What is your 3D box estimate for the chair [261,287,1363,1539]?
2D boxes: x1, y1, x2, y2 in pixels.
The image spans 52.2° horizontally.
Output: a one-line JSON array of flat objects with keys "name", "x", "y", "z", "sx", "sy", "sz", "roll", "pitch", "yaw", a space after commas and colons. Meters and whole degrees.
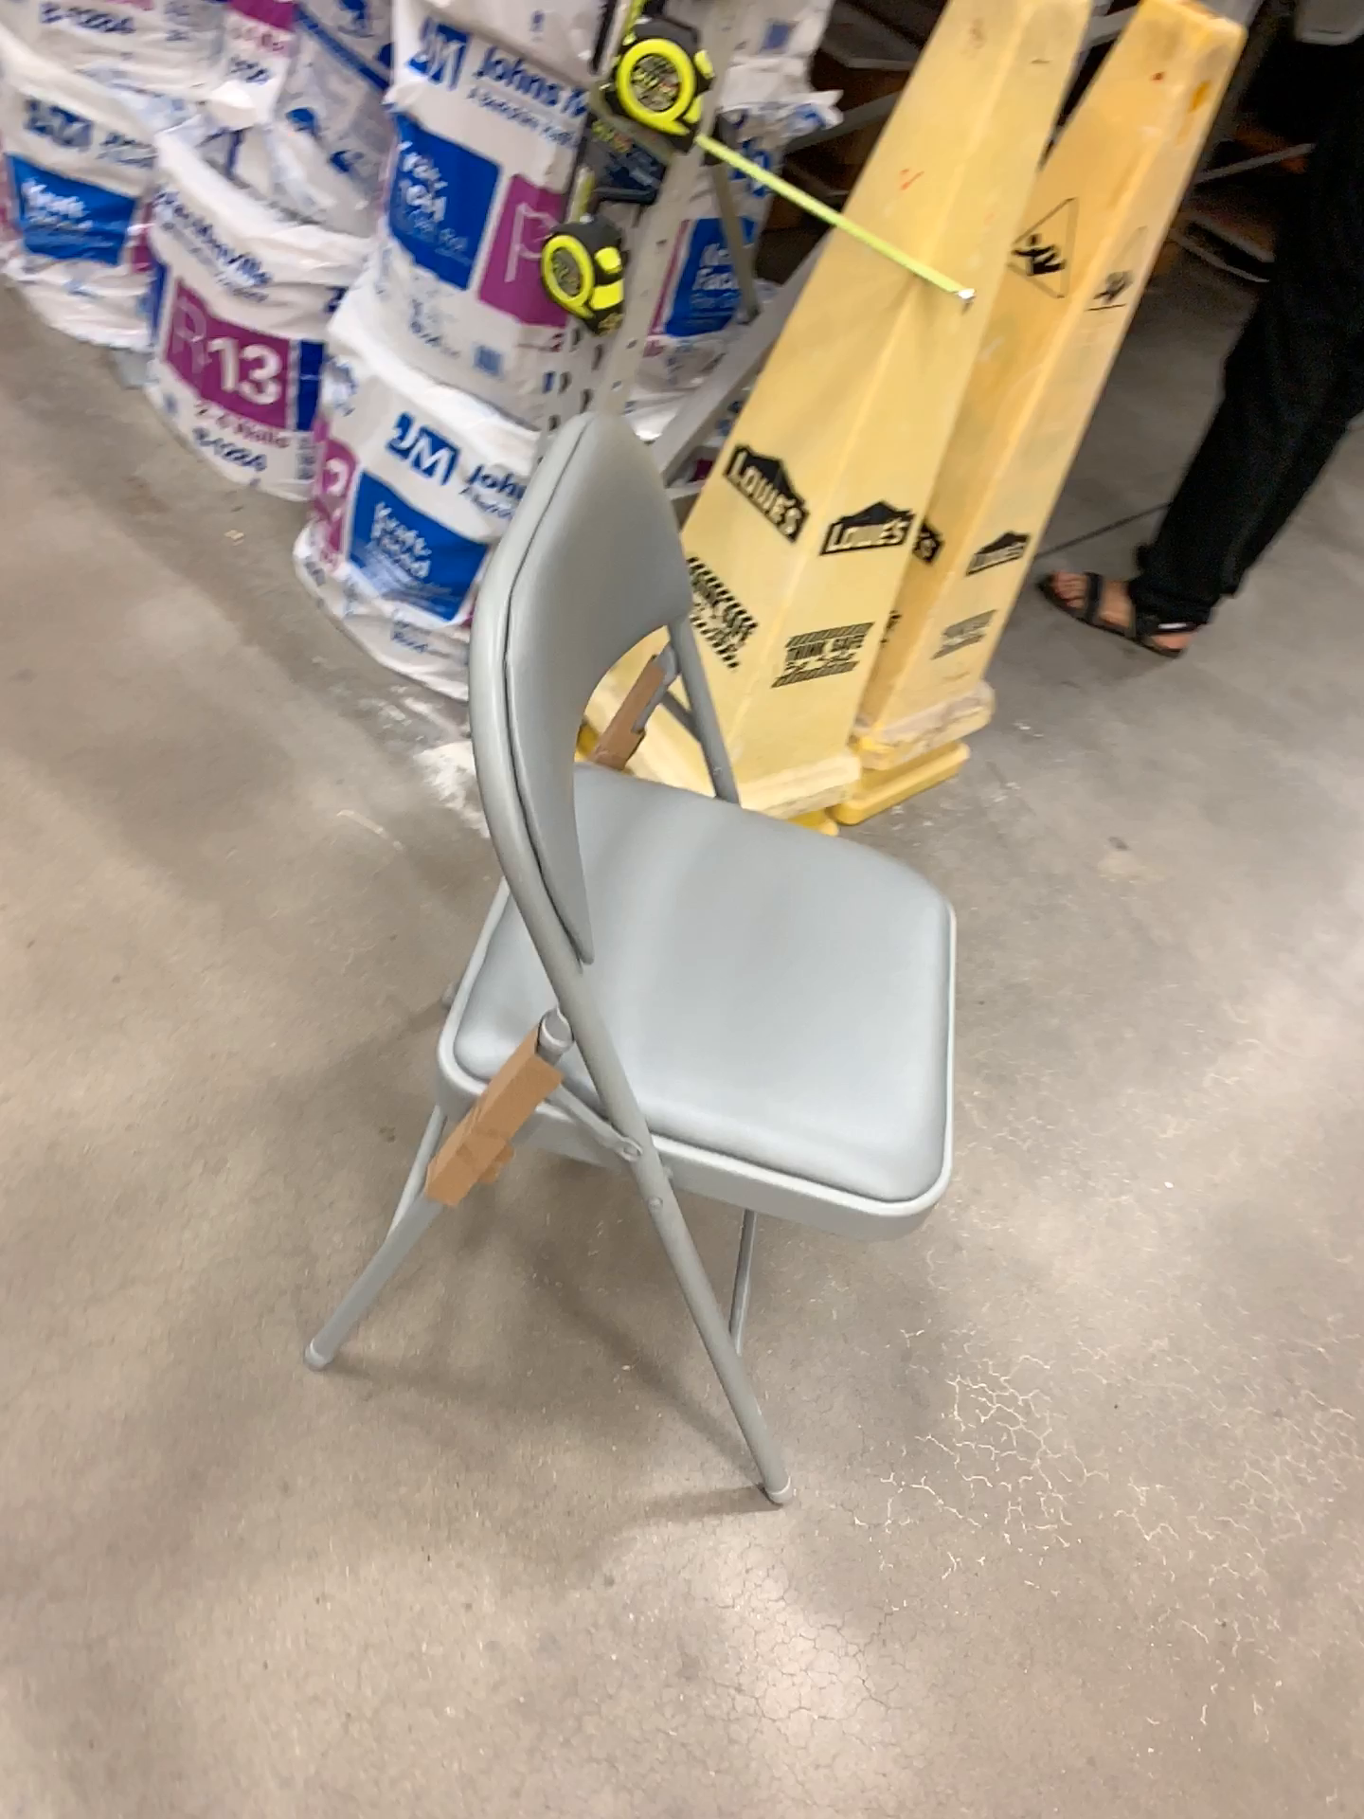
[{"name": "chair", "x": 0.038, "y": 0.040, "z": 1.065, "sx": 0.484, "sy": 0.709, "sz": 0.489, "roll": 19, "pitch": 43, "yaw": -5}]
